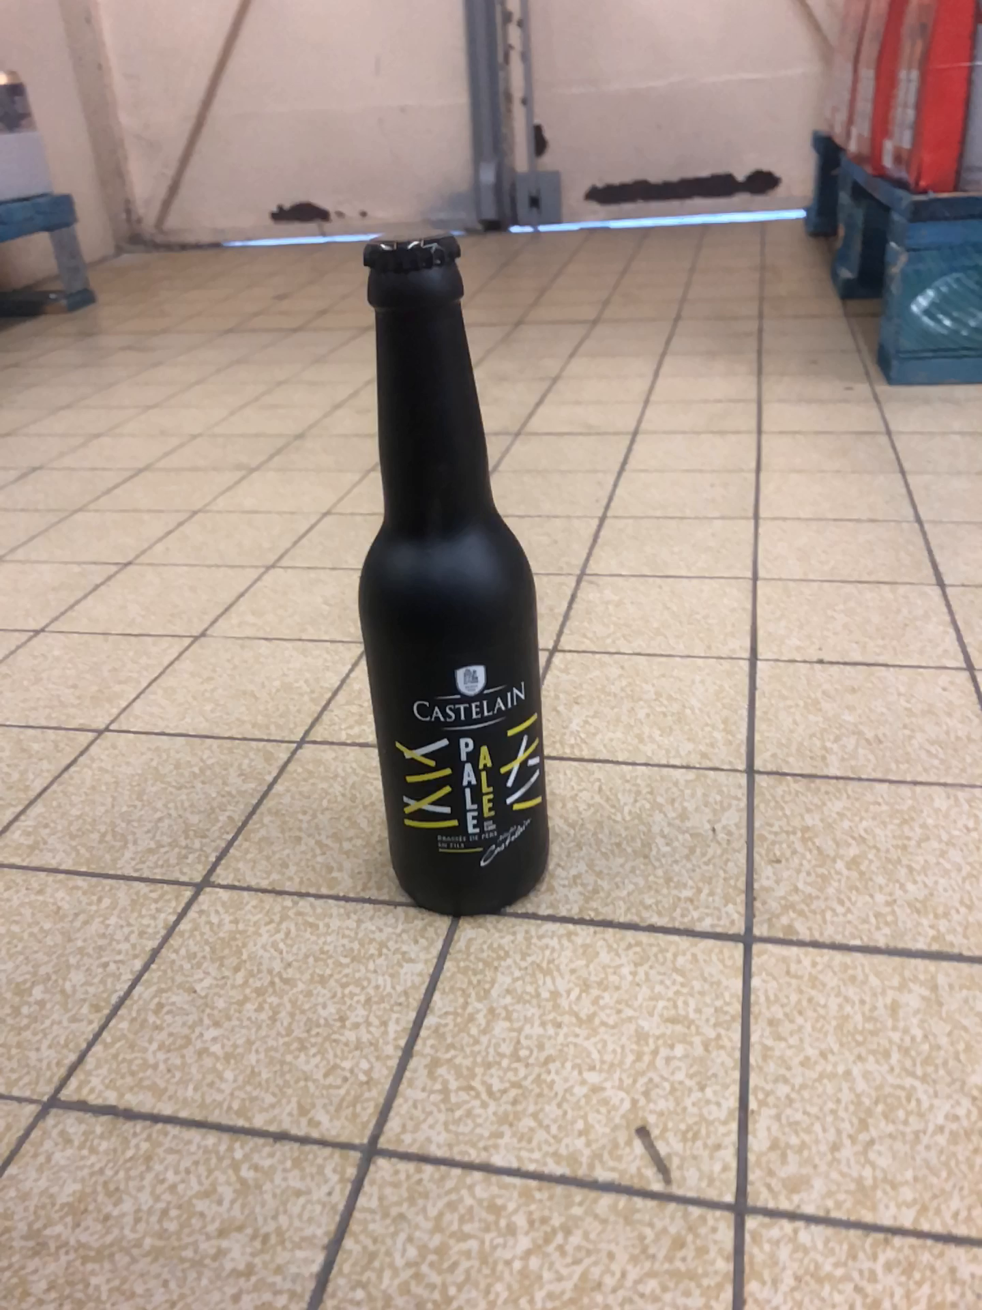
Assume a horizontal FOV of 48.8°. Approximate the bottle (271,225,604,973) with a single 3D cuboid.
[{"bbox_3d":[-0.013,-0.015,0.347,0.070,0.219,0.070,-4,26,2],"label":"bottle"}]
